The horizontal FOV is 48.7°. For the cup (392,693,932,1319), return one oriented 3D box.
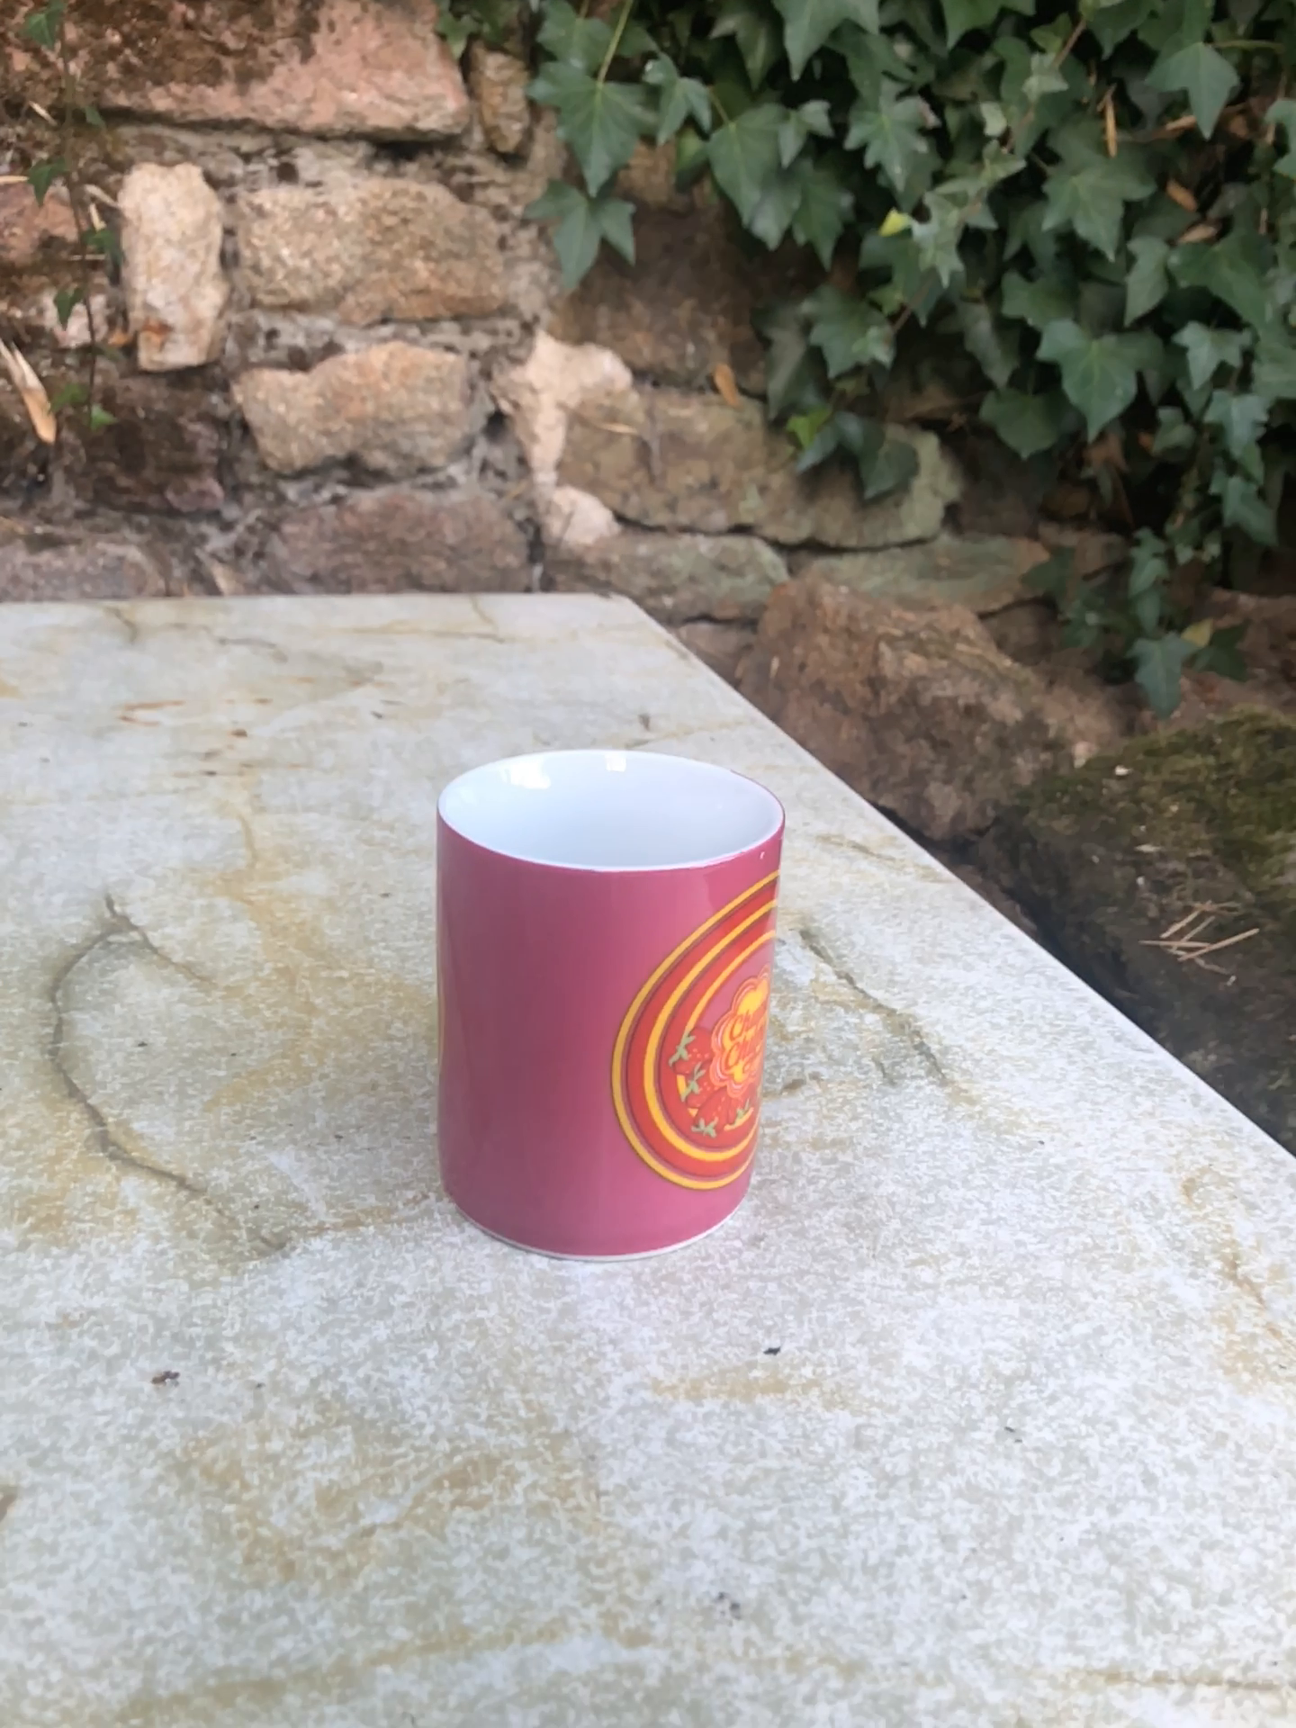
[{"bbox_3d":[0.008,0.023,0.336,0.076,0.089,0.116,13,26,24],"label":"cup"}]
